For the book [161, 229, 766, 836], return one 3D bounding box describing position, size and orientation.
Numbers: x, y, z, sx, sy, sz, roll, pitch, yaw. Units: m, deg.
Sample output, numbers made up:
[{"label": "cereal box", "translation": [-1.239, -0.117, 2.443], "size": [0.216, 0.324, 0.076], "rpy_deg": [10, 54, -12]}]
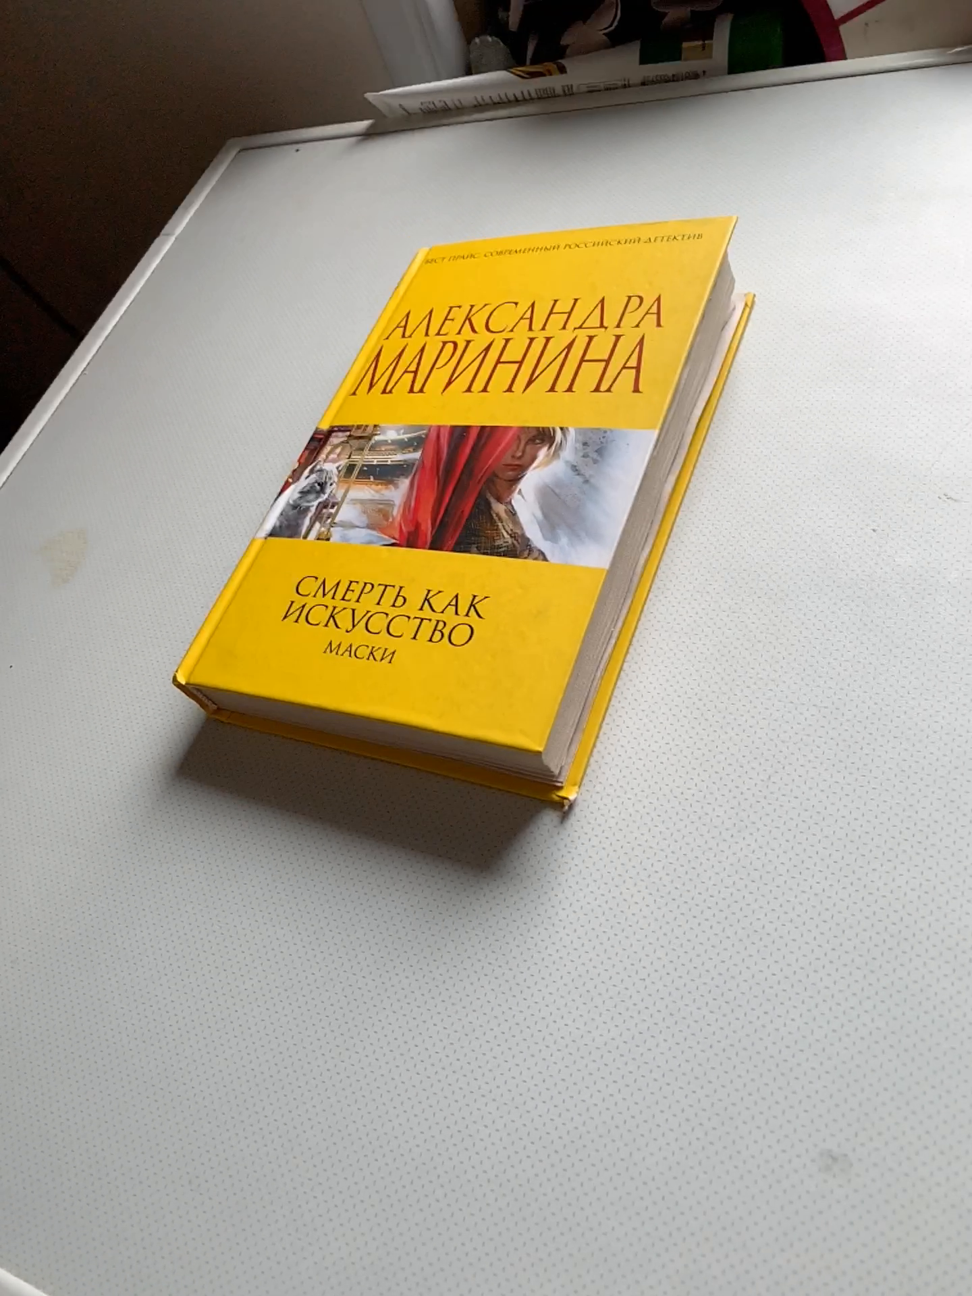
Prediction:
[{"label": "book", "translation": [0.000, -0.048, 0.303], "size": [0.120, 0.030, 0.189], "rpy_deg": [9, 61, 28]}]
